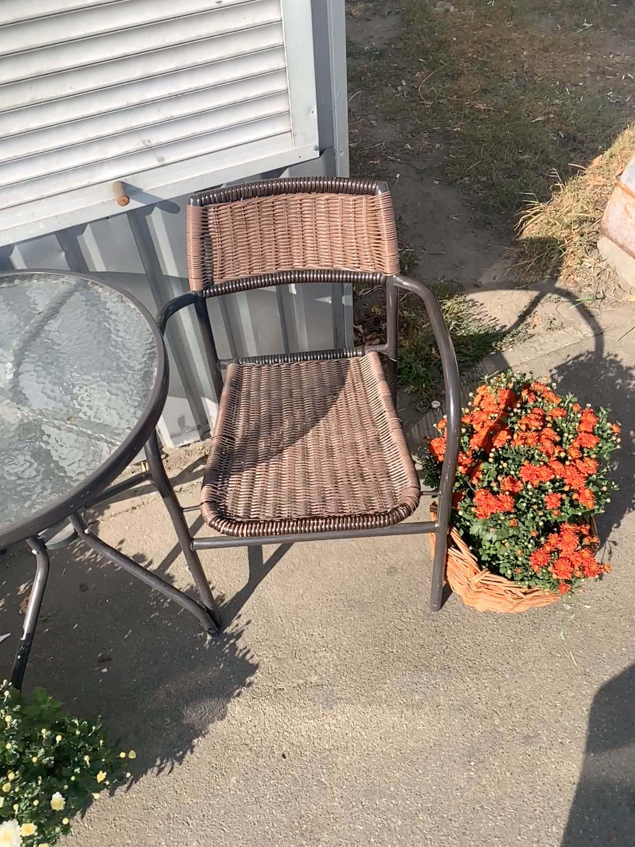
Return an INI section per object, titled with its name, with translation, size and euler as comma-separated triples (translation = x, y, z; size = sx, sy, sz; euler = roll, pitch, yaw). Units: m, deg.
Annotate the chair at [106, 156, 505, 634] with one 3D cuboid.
[chair]
translation = -0.023, -0.045, 1.418
size = 0.570, 0.717, 0.693
euler = -6, 49, 0
